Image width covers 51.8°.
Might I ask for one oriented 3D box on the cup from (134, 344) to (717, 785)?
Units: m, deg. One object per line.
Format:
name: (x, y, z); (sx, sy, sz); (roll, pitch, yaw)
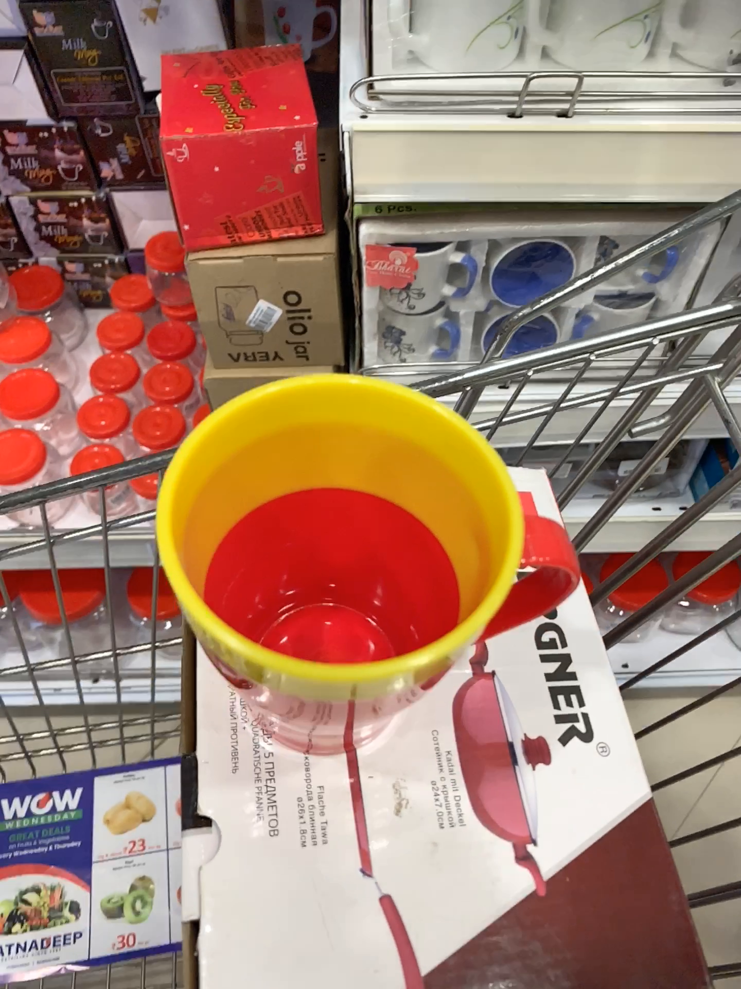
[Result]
cup: (0.006, 0.019, 0.197); (0.110, 0.080, 0.080); (-2, 56, -6)
